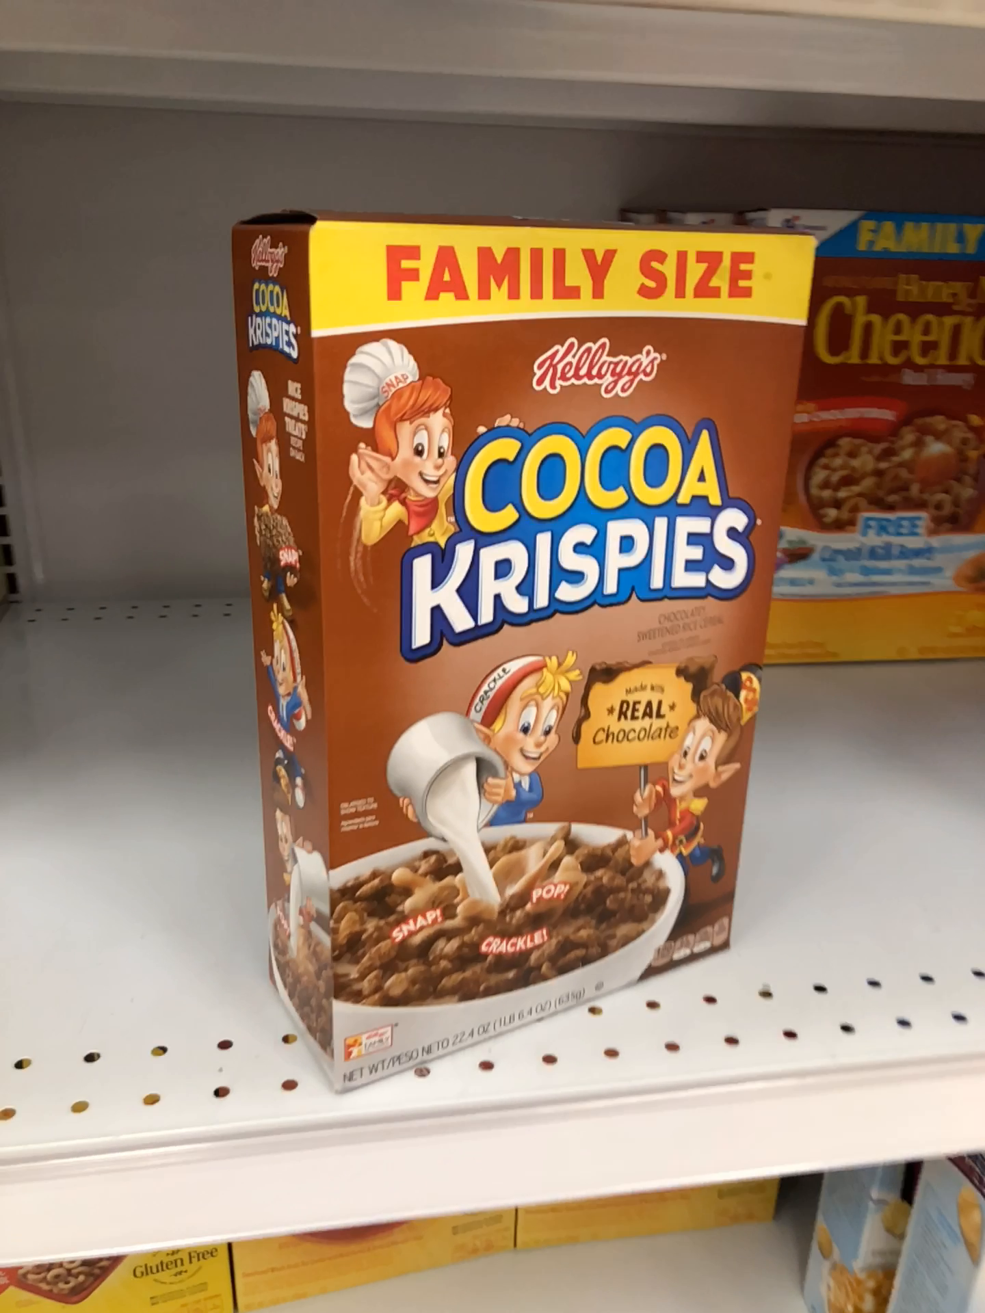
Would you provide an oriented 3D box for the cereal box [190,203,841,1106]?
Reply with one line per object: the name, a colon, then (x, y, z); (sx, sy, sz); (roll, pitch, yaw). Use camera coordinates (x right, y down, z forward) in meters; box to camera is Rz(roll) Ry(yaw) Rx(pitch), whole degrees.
cereal box: (0.010, -0.006, 0.407); (0.200, 0.299, 0.070); (-11, 26, -27)
